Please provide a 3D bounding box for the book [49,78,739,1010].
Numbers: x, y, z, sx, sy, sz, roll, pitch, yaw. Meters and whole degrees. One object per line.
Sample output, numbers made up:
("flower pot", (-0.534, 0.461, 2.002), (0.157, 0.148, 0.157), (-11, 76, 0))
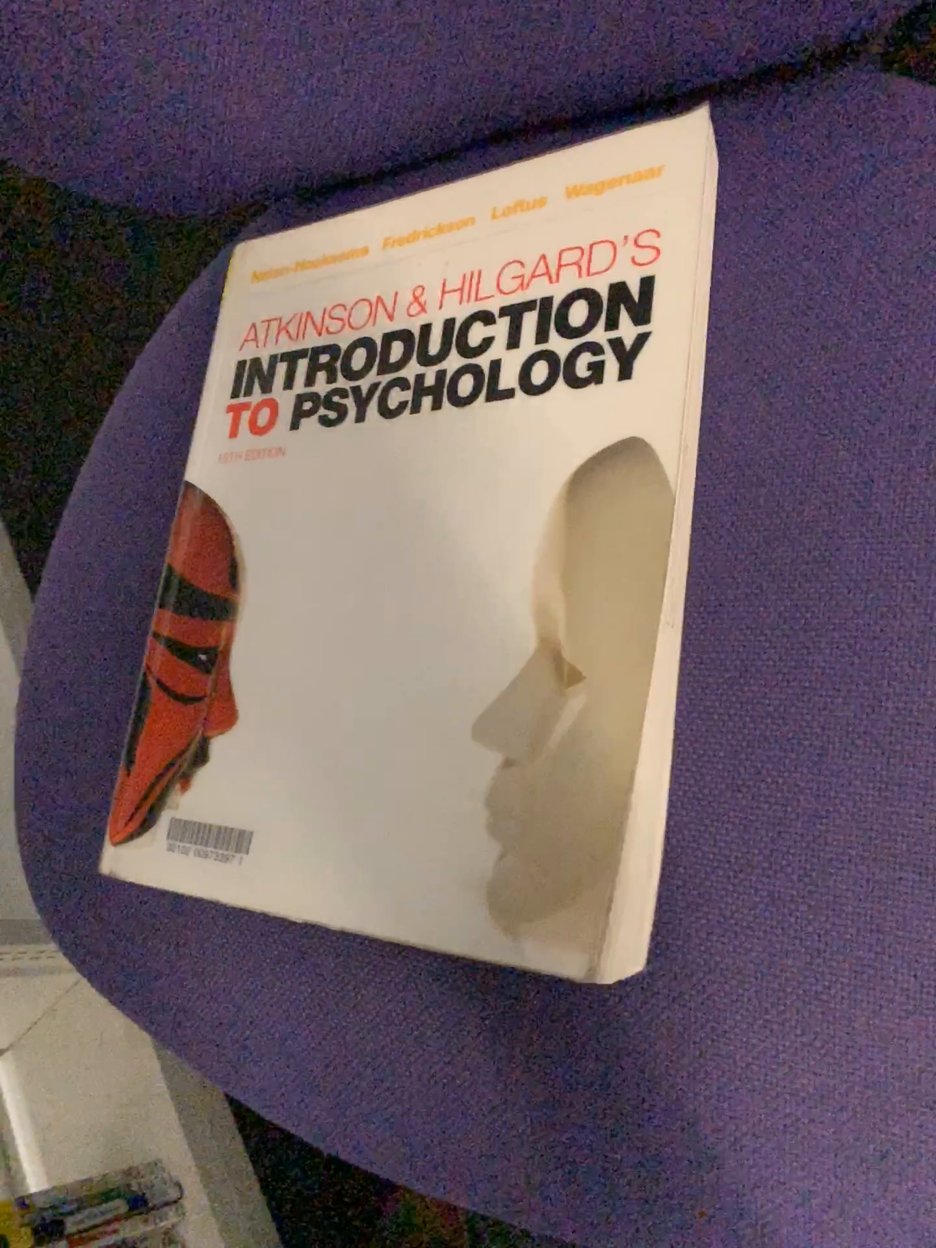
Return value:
("book", (-0.030, -0.035, 0.345), (0.223, 0.035, 0.283), (0, 72, 32))
